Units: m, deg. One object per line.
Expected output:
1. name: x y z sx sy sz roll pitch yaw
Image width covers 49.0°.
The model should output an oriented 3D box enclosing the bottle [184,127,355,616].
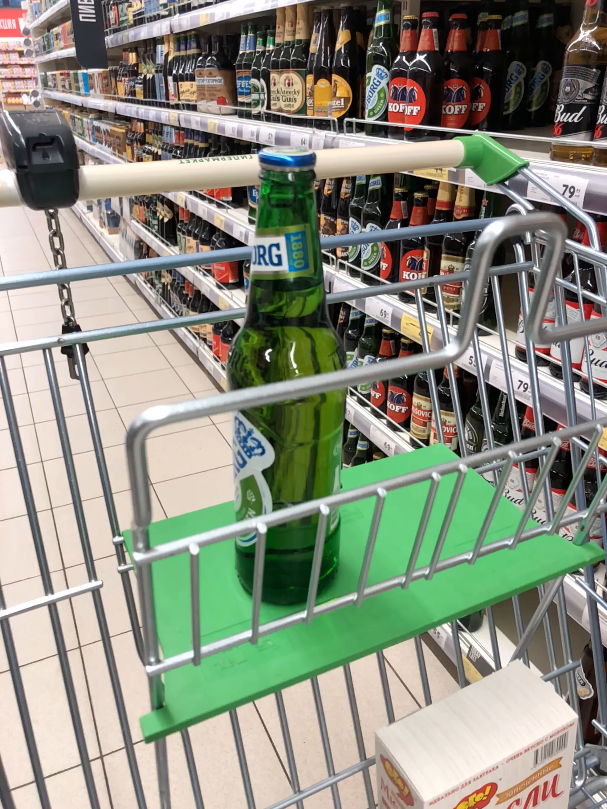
1. bottle: -0.012 -0.009 0.368 0.070 0.259 0.080 -1 27 1
